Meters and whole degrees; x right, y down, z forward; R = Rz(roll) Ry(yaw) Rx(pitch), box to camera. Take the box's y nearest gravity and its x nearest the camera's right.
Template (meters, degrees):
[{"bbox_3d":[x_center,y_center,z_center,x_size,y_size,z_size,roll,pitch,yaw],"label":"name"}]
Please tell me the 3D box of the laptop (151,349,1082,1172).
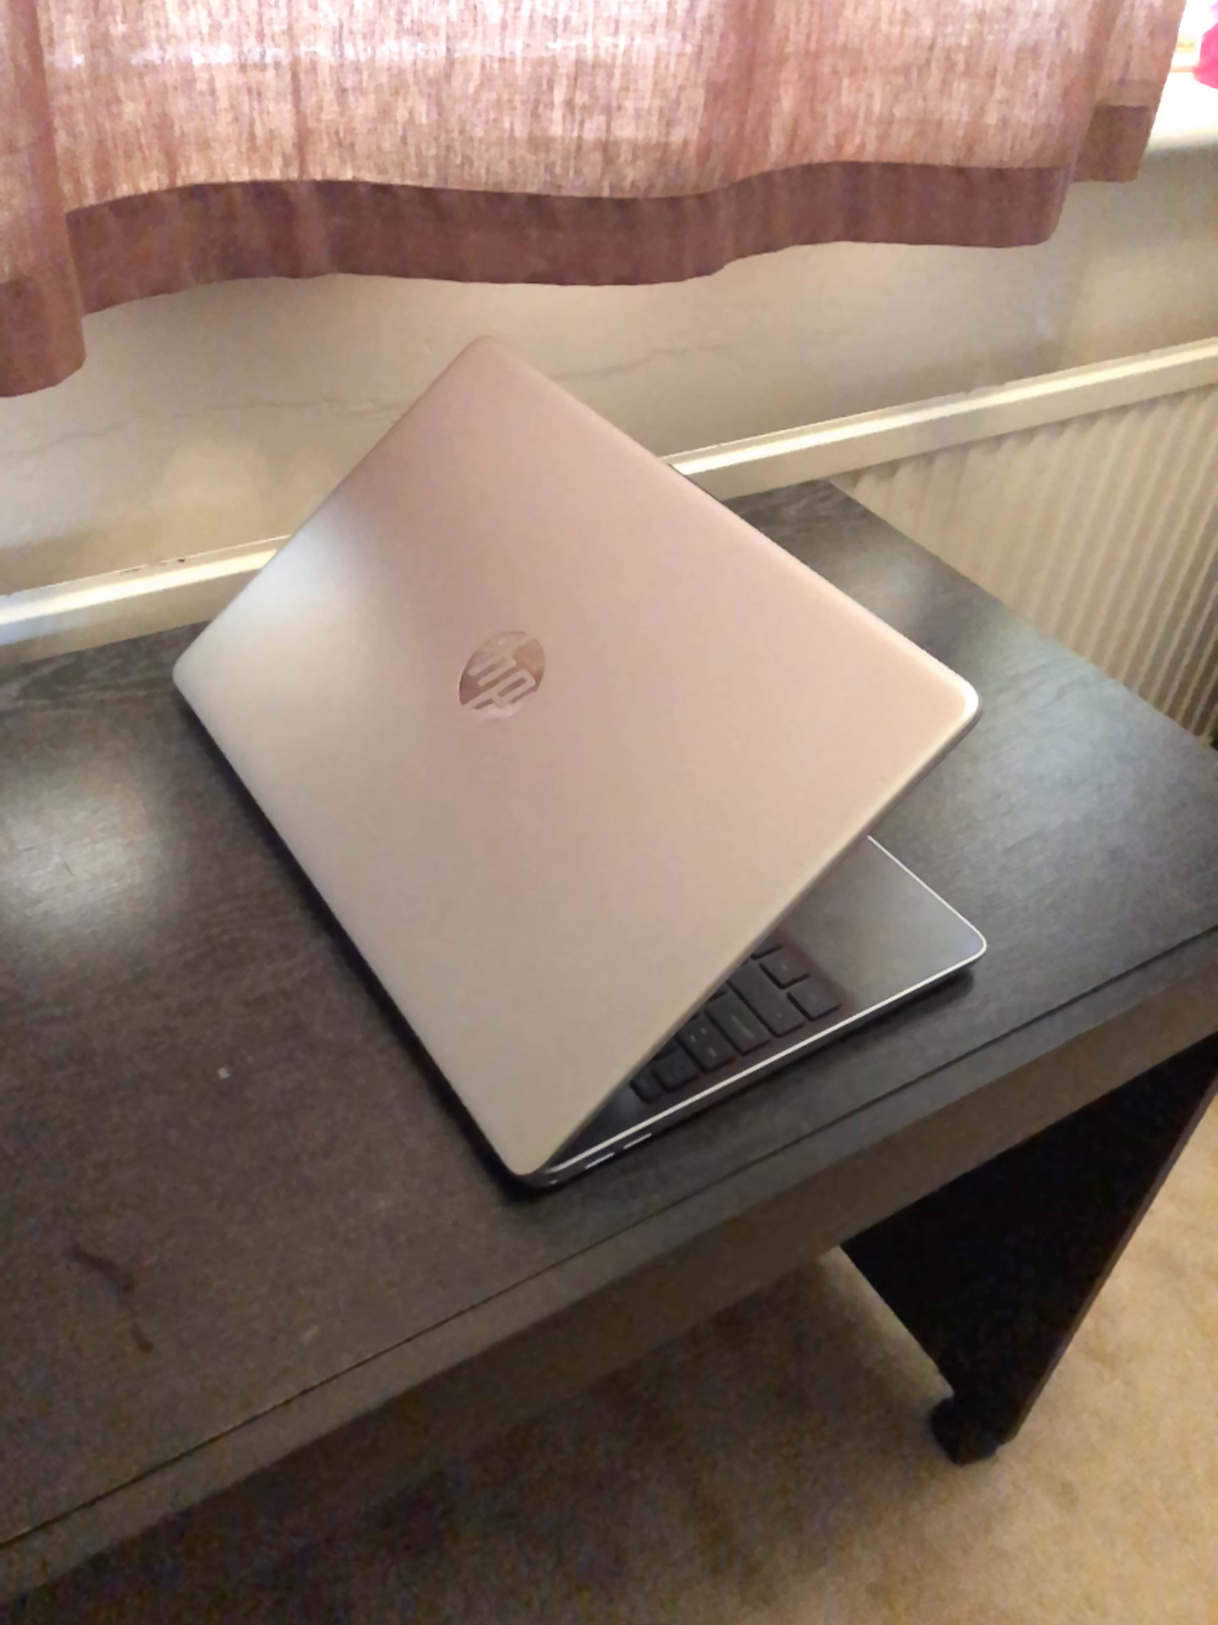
[{"bbox_3d":[-0.019,-0.063,0.607,0.237,0.141,0.362,-19,45,-30],"label":"laptop"}]
